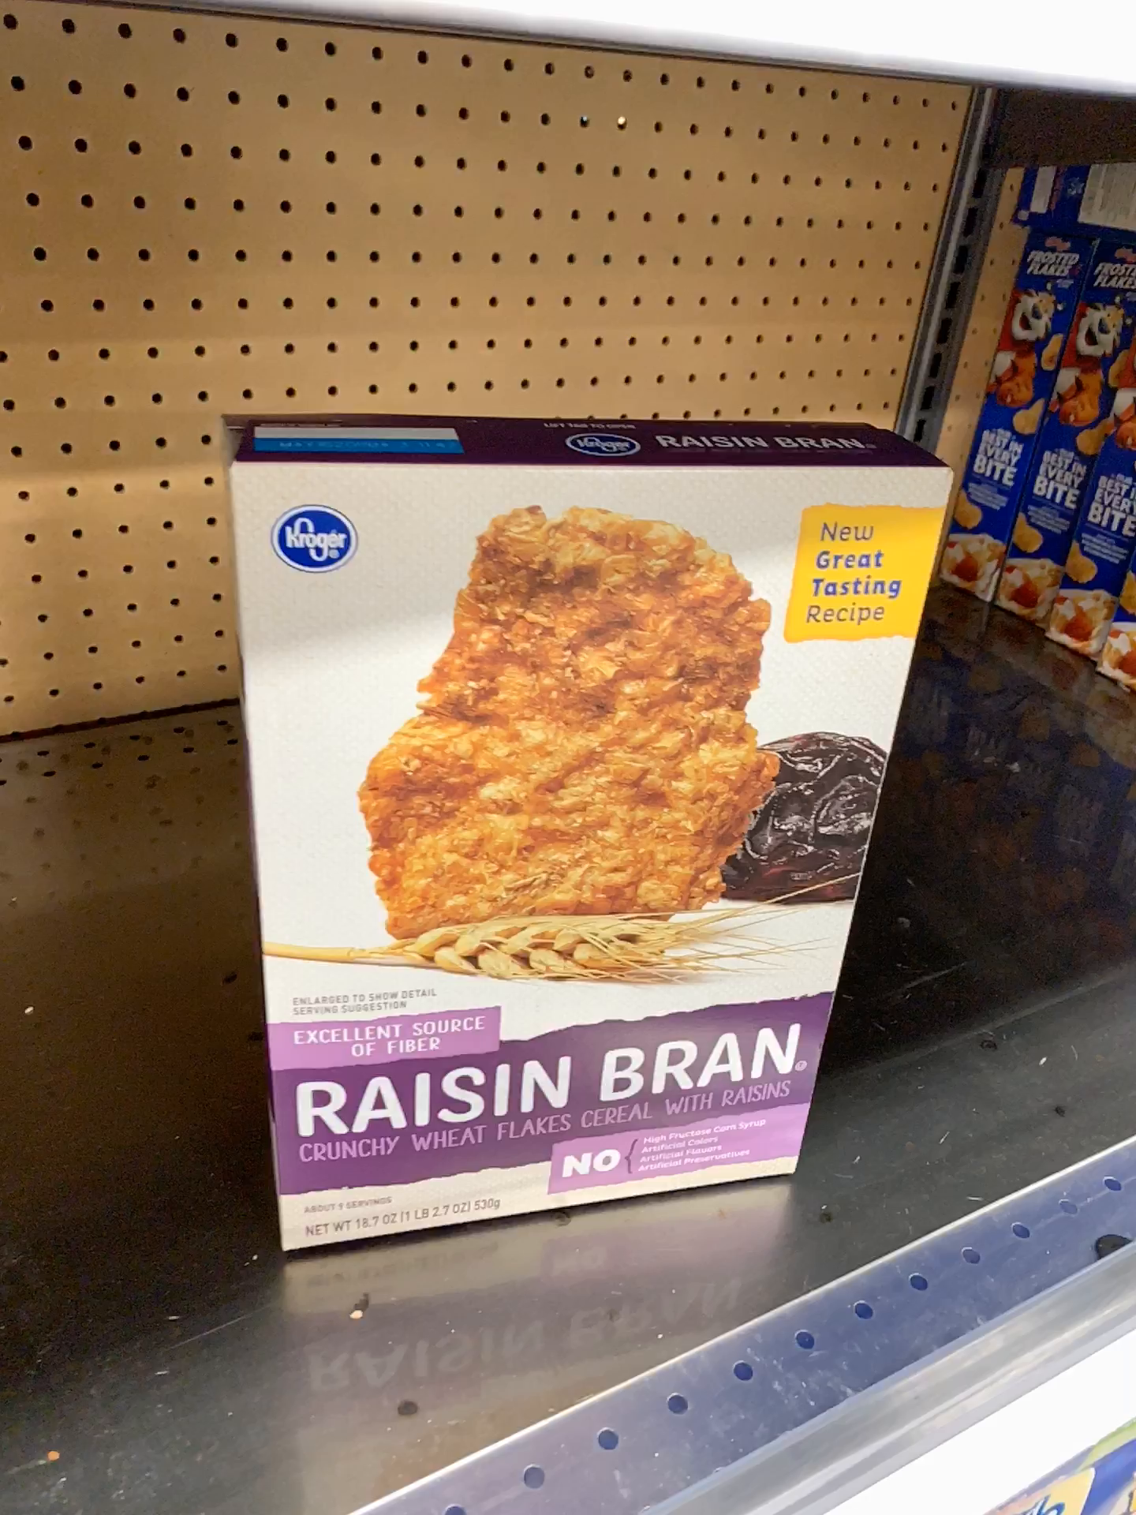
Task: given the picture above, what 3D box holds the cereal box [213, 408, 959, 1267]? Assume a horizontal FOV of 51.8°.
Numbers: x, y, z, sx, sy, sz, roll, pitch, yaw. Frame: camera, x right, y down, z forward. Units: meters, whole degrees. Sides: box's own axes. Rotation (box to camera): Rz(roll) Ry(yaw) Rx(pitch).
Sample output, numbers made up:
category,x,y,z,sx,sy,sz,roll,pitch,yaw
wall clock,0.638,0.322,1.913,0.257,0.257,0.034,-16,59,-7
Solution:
category,x,y,z,sx,sy,sz,roll,pitch,yaw
cereal box,-0.004,0.033,0.371,0.190,0.269,0.050,-4,30,-15
